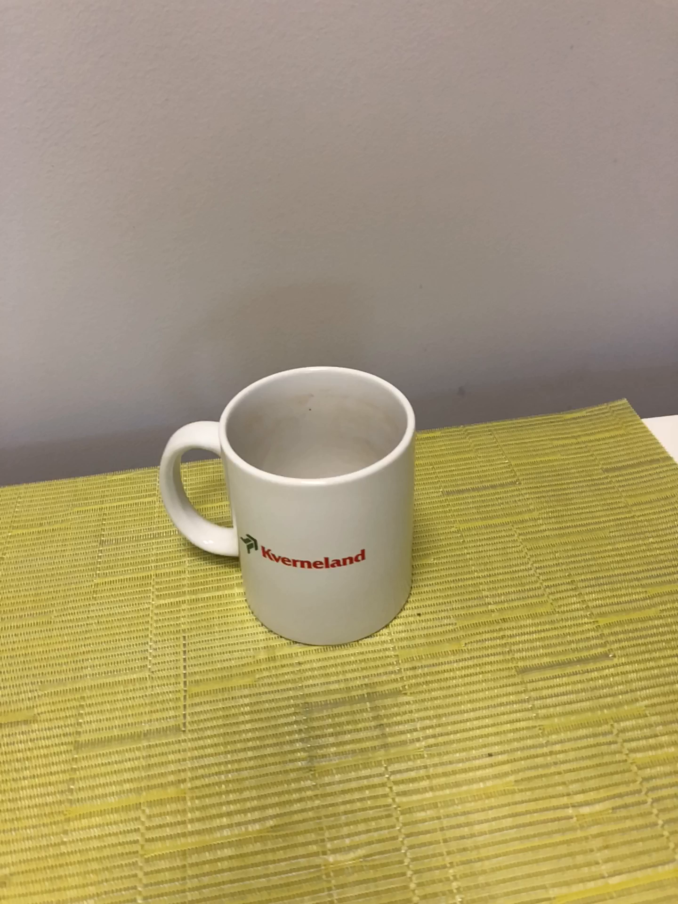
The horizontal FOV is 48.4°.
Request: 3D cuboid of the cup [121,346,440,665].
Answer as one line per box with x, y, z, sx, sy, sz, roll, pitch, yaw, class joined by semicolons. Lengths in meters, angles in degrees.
-0.018;0.021;0.344;0.114;0.100;0.090;6;37;10;cup
